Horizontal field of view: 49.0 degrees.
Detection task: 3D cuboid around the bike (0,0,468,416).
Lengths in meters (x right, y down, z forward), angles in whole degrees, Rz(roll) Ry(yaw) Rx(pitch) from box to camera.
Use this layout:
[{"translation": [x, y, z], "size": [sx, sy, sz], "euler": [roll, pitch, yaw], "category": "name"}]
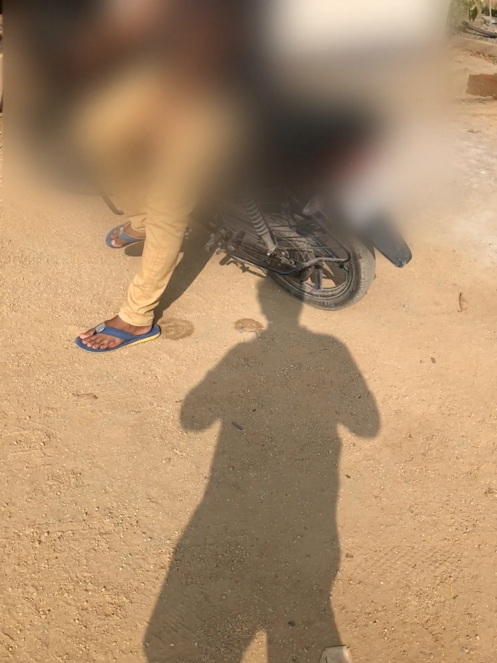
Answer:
[{"translation": [-0.345, -0.733, 1.987], "size": [1.691, 1.214, 0.884], "euler": [23, 42, 22], "category": "bike"}]
